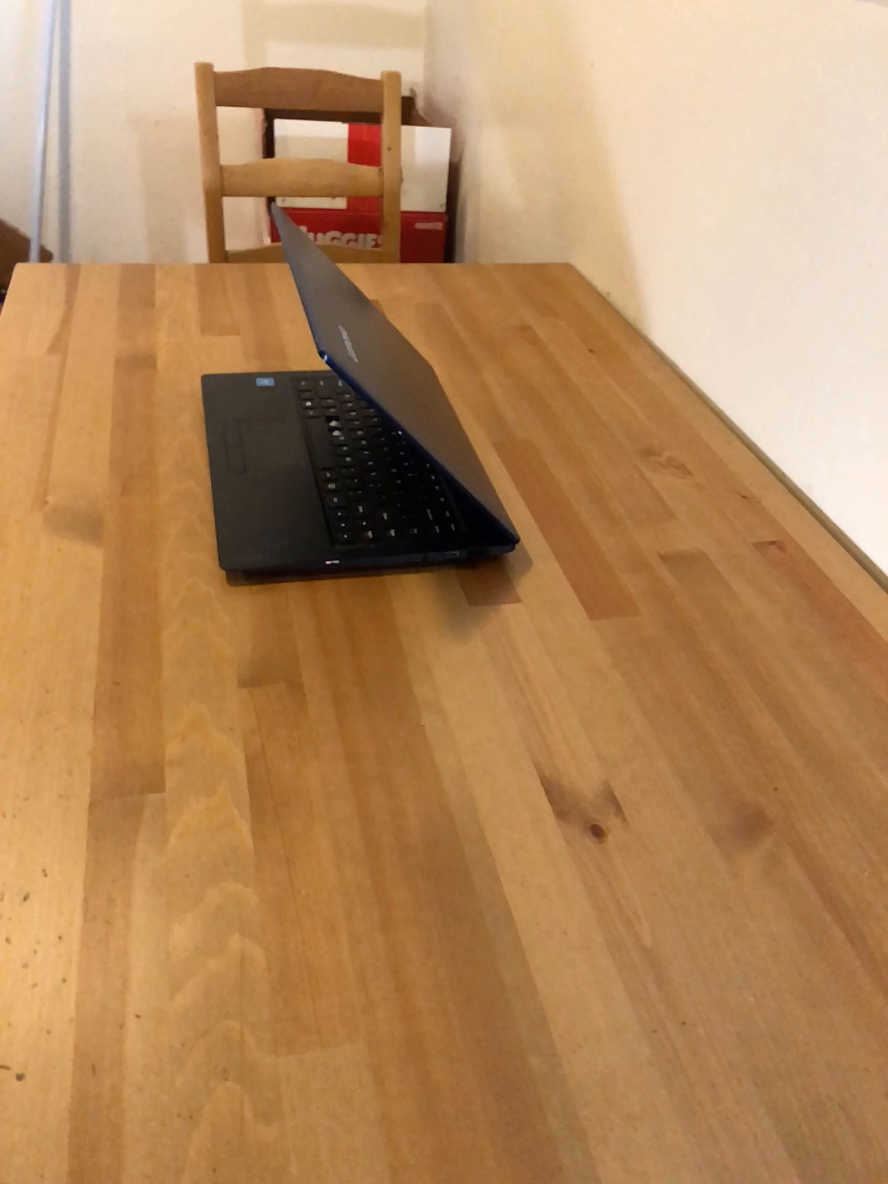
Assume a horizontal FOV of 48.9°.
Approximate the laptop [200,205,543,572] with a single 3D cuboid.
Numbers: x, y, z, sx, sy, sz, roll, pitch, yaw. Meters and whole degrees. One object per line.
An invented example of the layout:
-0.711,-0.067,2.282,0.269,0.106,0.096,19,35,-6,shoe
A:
-0.079,-0.186,0.806,0.215,0.161,0.319,-5,39,-12,laptop
